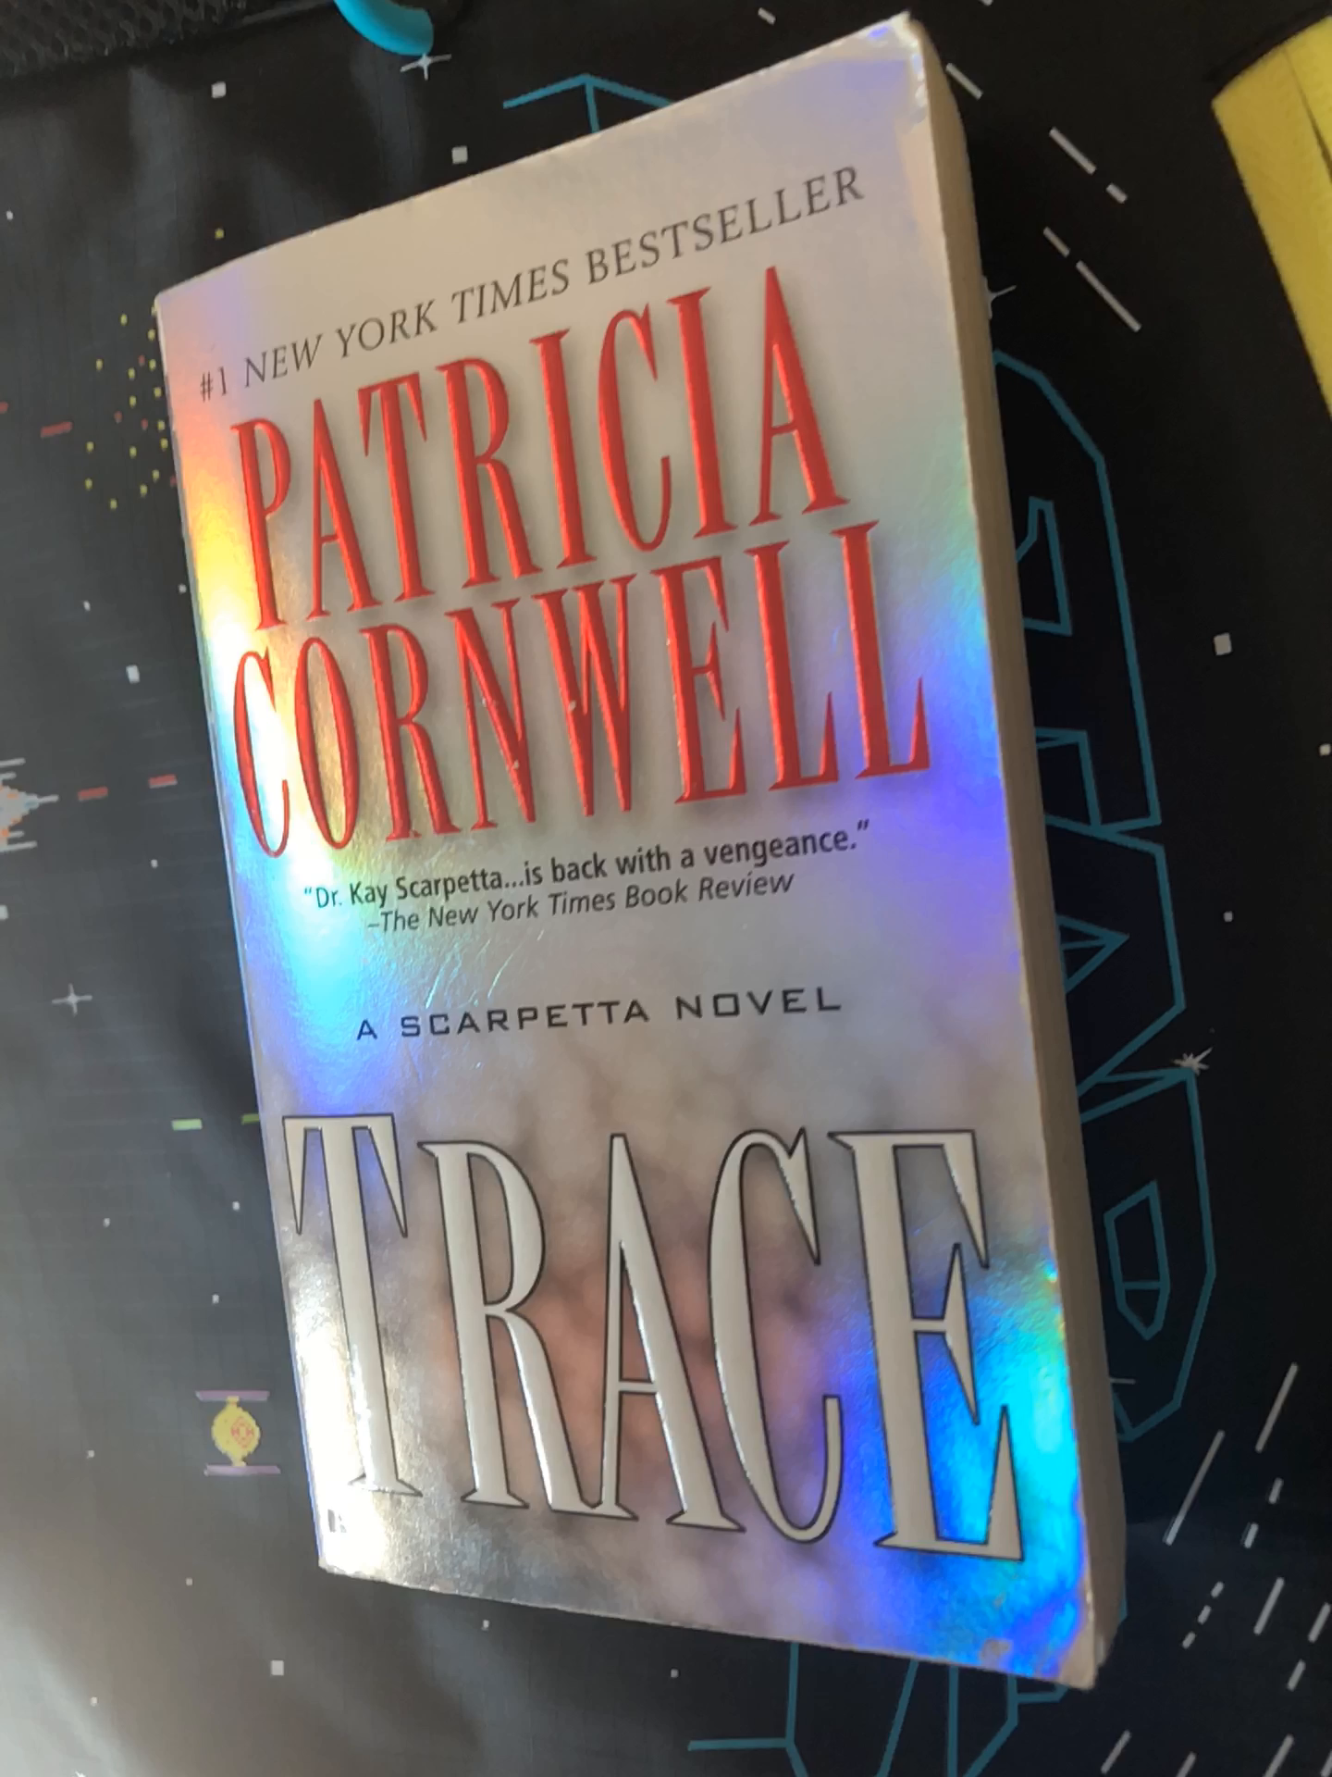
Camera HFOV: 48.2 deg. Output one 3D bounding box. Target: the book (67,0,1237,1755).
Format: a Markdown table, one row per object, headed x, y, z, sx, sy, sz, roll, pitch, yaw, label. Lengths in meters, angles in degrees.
| x | y | z | sx | sy | sz | roll | pitch | yaw | label |
| --- | --- | --- | --- | --- | --- | --- | --- | --- | --- |
| -0.006 | -0.001 | 0.182 | 0.120 | 0.040 | 0.170 | -6 | 91 | 30 | book |
